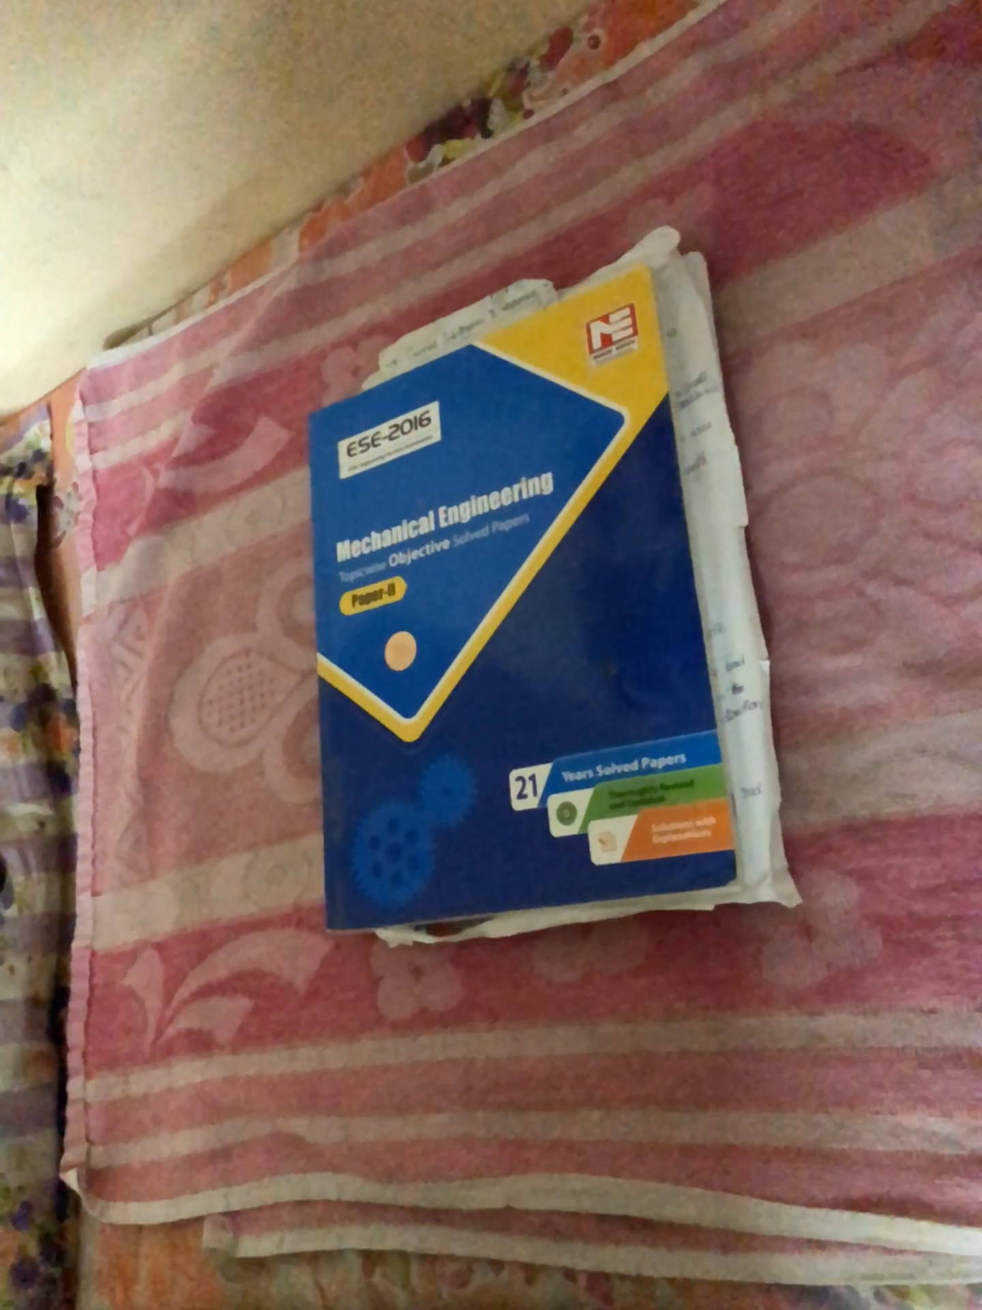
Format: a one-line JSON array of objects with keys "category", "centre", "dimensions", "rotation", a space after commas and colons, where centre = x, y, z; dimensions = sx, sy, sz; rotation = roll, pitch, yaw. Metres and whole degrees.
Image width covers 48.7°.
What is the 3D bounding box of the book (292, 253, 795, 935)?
[{"category": "book", "centre": [0.008, -0.016, 0.512], "dimensions": [0.216, 0.055, 0.270], "rotation": [-15, 72, 32]}]
